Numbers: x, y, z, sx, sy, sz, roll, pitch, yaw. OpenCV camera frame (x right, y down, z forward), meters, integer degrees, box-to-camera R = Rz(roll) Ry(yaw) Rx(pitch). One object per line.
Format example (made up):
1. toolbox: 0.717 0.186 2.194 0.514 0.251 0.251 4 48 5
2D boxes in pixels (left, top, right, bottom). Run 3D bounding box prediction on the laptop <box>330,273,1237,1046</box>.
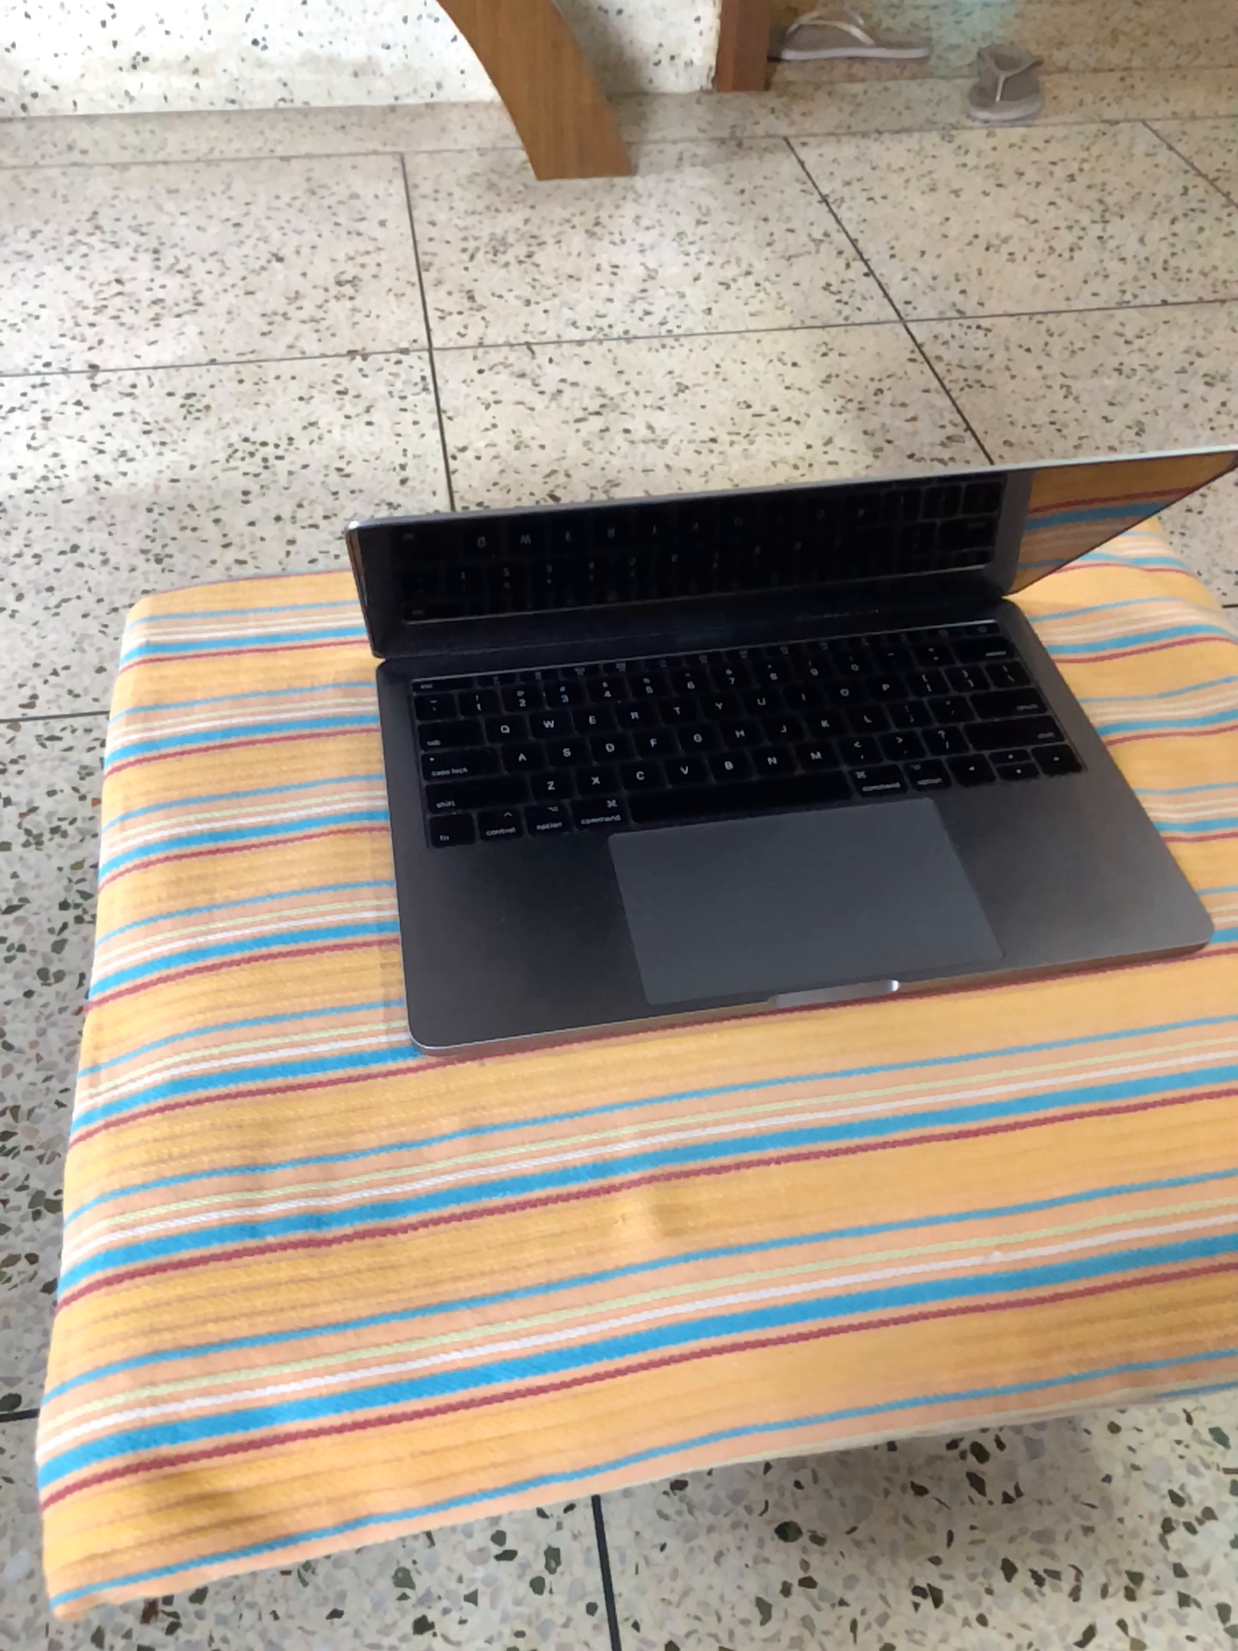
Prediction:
1. laptop: 0.059 -0.069 0.497 0.294 0.159 0.204 -7 47 -8
